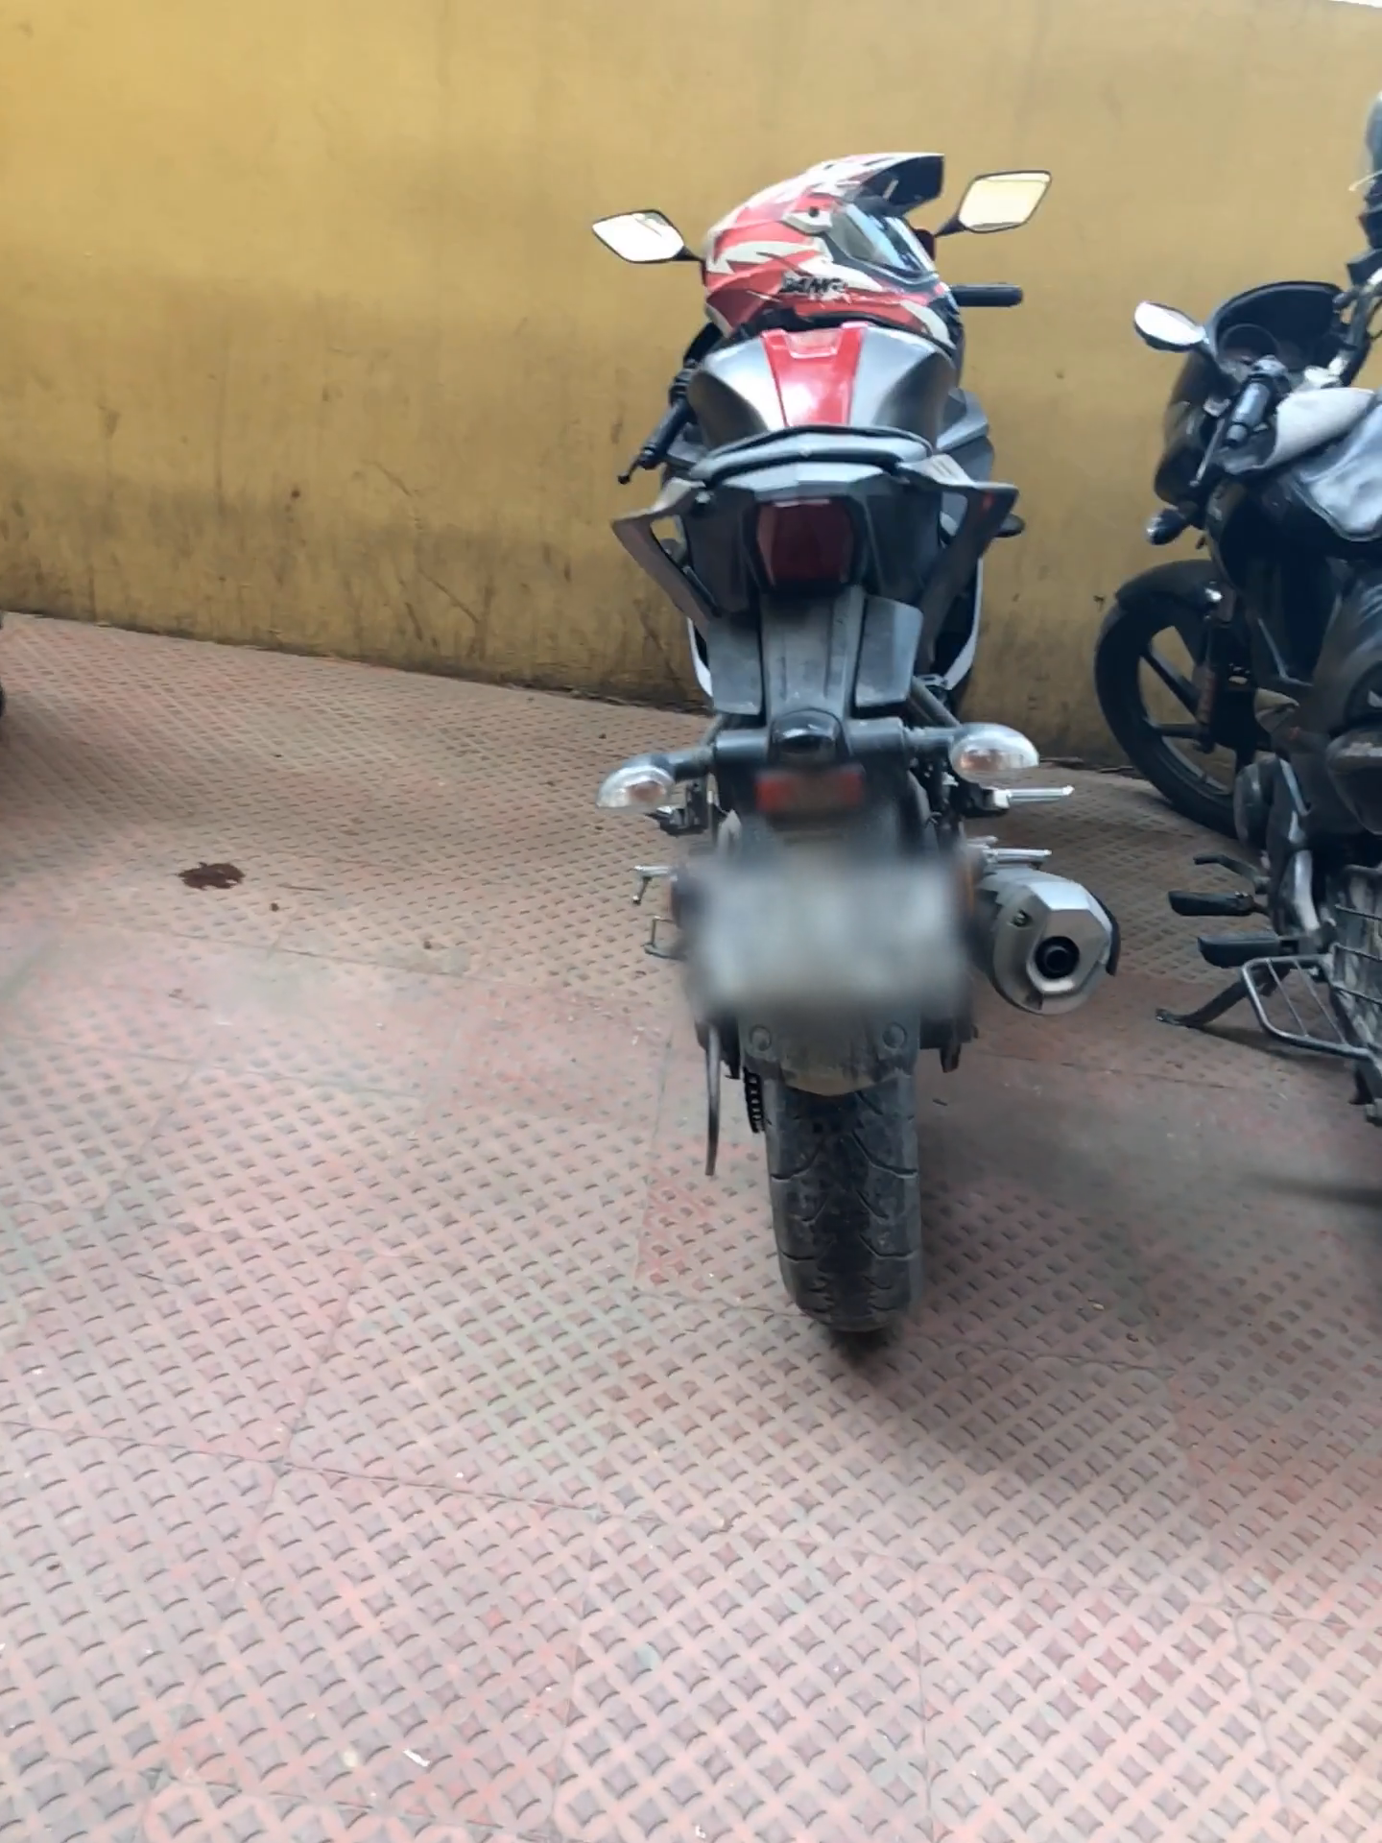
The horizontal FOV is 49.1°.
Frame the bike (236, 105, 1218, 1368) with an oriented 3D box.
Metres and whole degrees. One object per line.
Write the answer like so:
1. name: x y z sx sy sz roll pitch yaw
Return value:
1. bike: -0.077 -0.472 2.049 0.725 0.870 1.754 5 32 -5
